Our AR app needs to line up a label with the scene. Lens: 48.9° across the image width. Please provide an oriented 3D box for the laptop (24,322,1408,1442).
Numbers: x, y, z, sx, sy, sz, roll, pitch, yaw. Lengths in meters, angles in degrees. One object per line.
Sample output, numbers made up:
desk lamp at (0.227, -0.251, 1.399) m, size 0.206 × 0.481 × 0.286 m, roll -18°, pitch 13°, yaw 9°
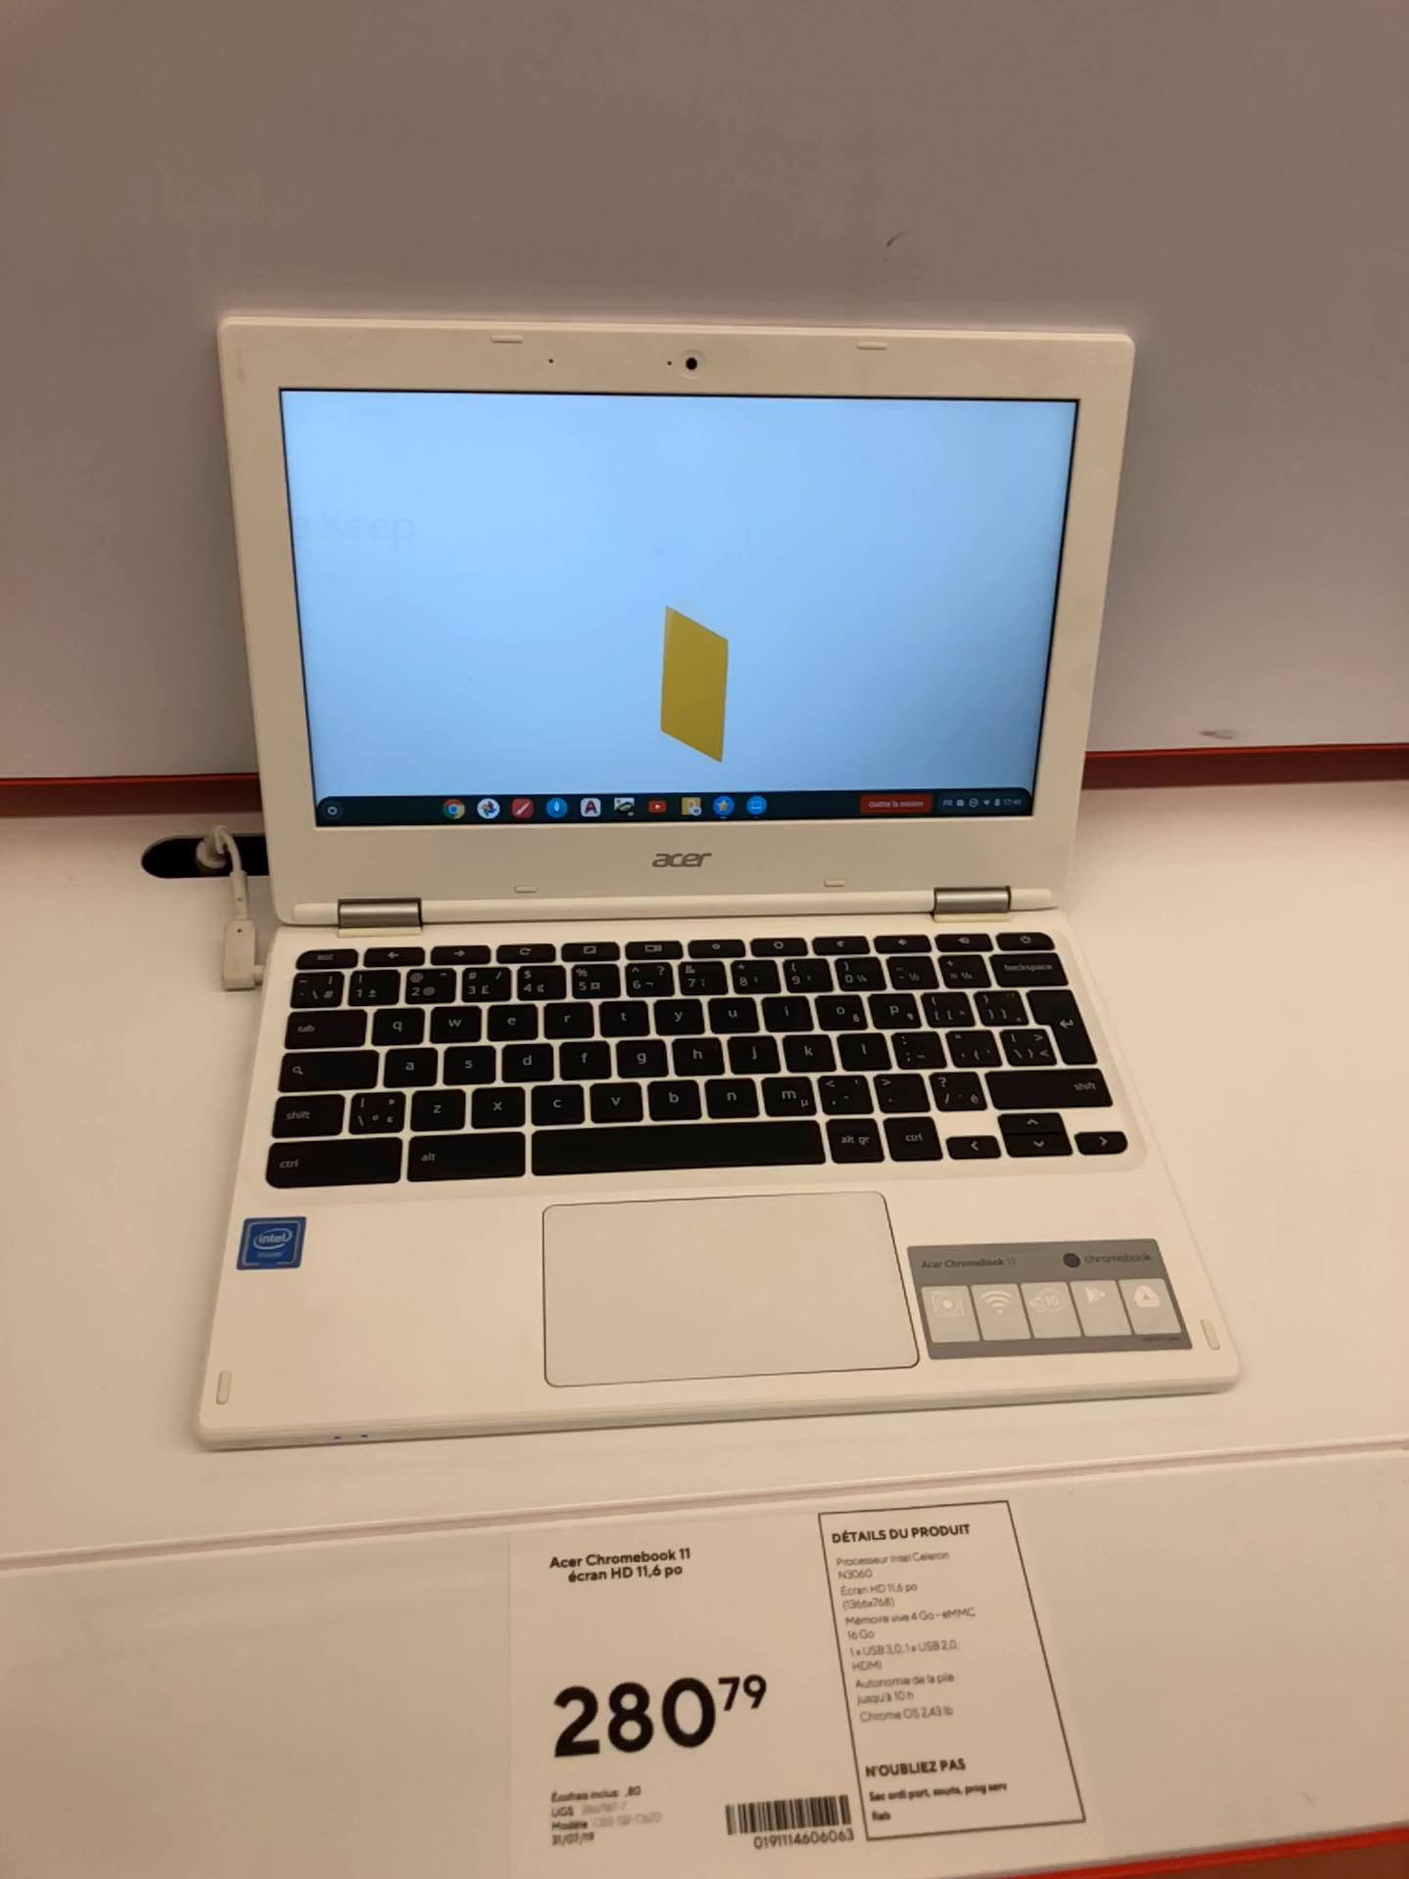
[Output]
laptop at (0.001, -0.031, 0.449) m, size 0.282 × 0.188 × 0.260 m, roll -2°, pitch 44°, yaw -6°
